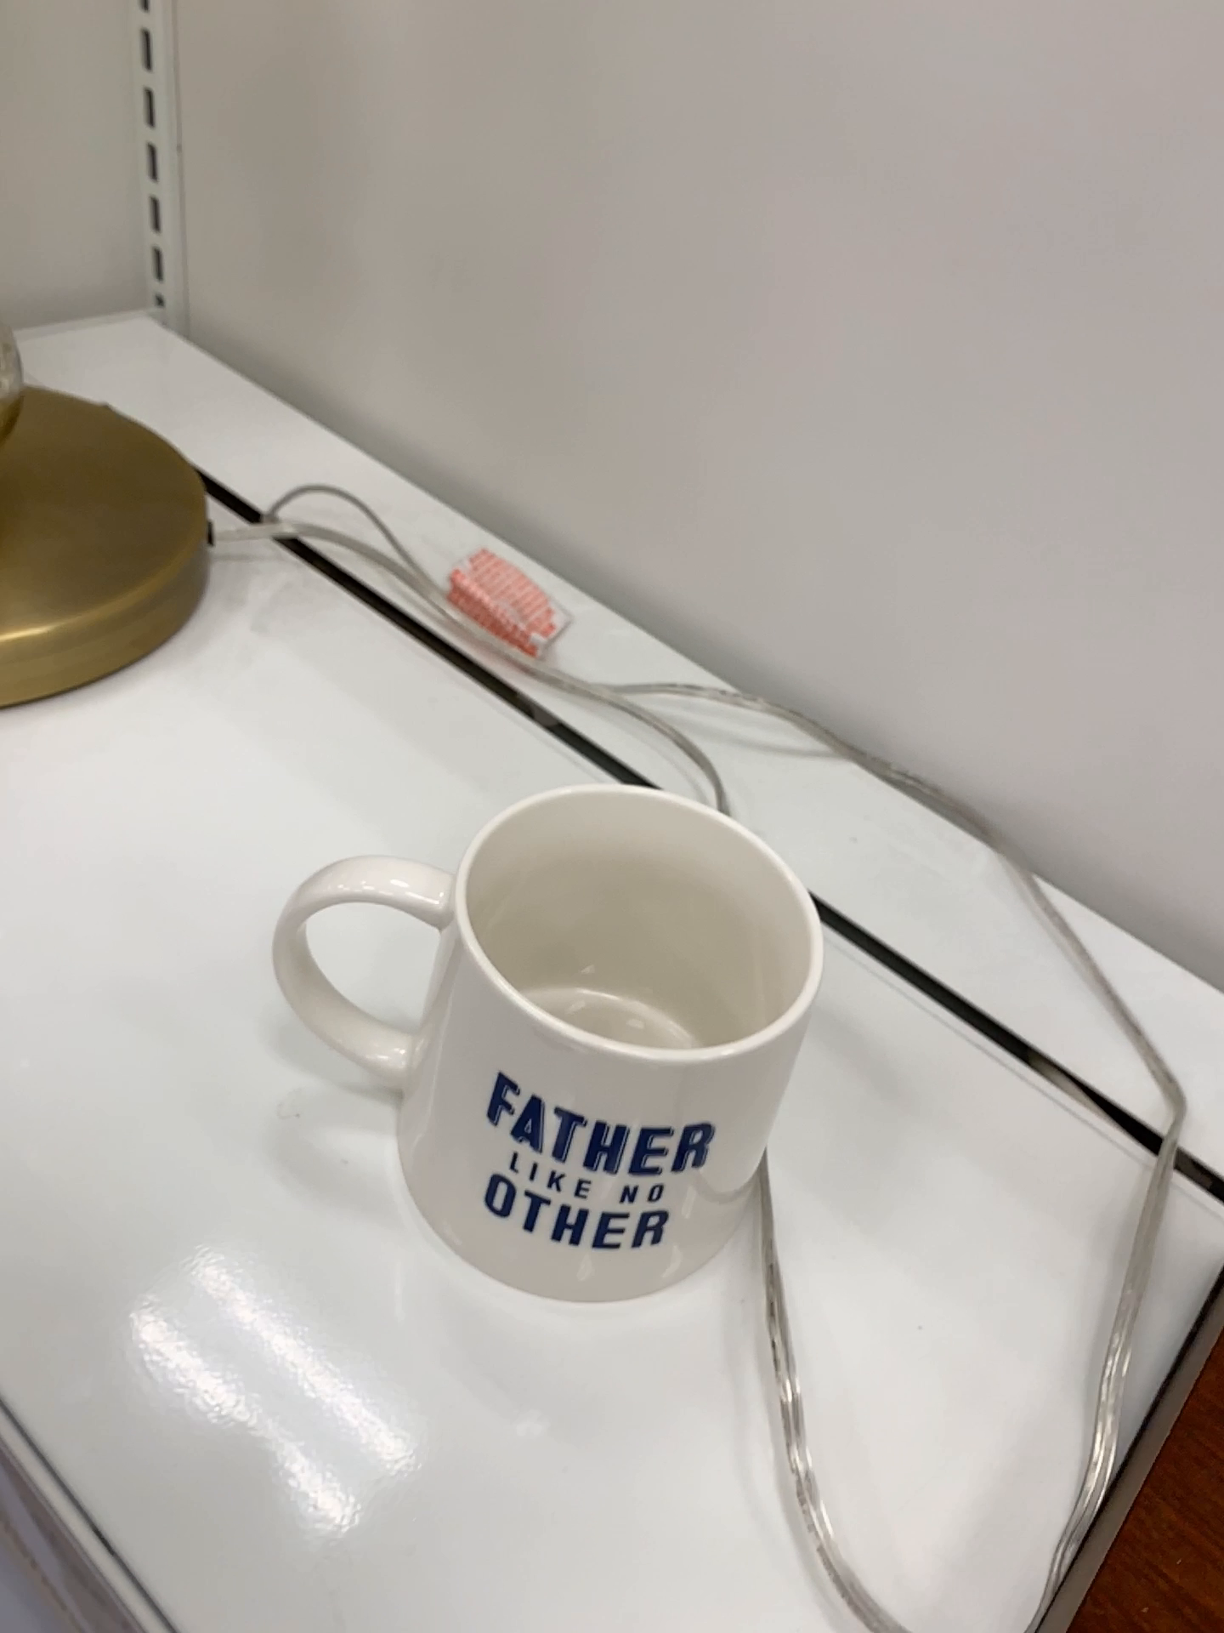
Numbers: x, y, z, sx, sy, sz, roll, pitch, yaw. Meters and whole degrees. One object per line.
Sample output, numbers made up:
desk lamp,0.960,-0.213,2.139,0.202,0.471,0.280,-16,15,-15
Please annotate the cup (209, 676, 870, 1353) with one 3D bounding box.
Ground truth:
cup,-0.018,0.058,0.385,0.160,0.119,0.121,14,40,1
